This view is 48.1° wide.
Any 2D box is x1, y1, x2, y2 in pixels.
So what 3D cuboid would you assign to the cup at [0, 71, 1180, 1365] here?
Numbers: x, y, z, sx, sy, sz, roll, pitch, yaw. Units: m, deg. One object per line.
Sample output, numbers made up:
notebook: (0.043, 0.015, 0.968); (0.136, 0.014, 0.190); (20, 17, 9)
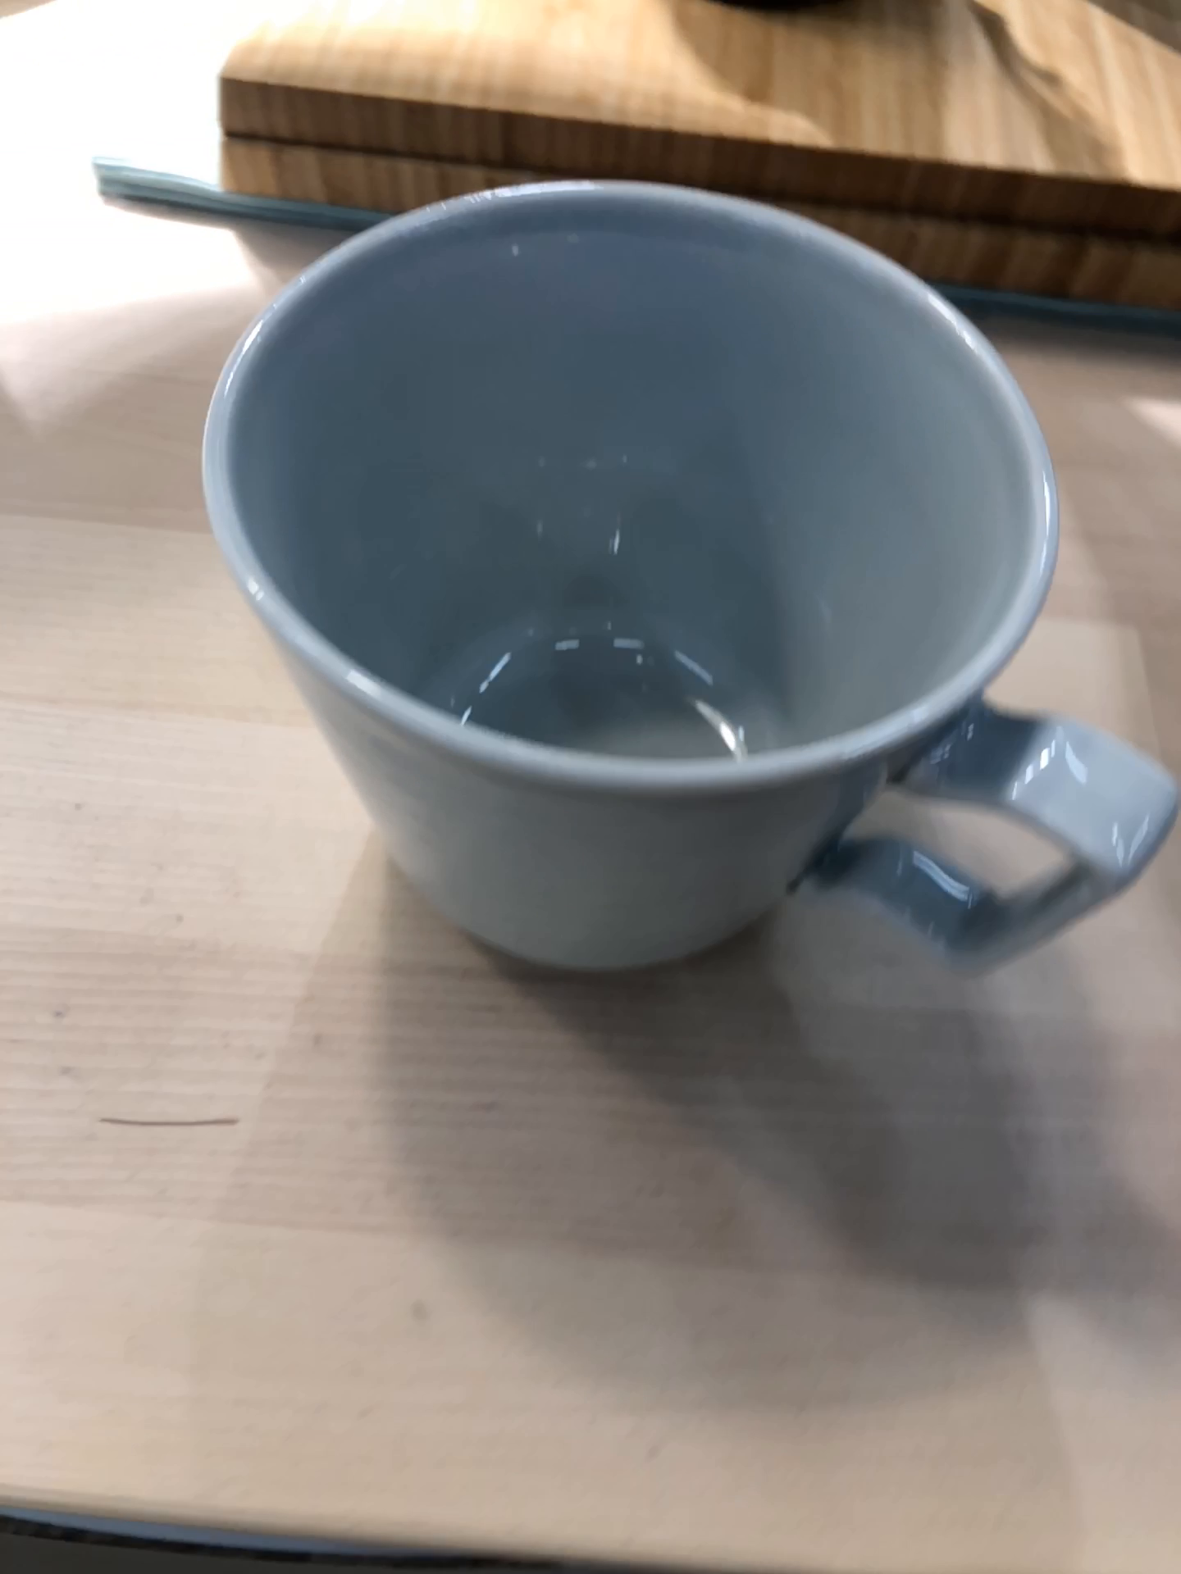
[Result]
cup: (0.014, -0.017, 0.193); (0.140, 0.080, 0.110); (36, 62, 18)
